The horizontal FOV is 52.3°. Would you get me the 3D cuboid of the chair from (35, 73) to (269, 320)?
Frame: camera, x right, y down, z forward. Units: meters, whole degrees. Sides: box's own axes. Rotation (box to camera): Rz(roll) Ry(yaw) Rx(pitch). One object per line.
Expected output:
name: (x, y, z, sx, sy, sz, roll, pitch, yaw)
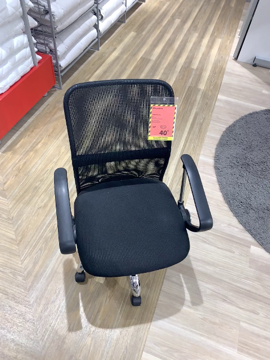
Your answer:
chair: (0.003, 0.112, 1.176, 0.640, 0.867, 0.603, -5, 52, -11)
